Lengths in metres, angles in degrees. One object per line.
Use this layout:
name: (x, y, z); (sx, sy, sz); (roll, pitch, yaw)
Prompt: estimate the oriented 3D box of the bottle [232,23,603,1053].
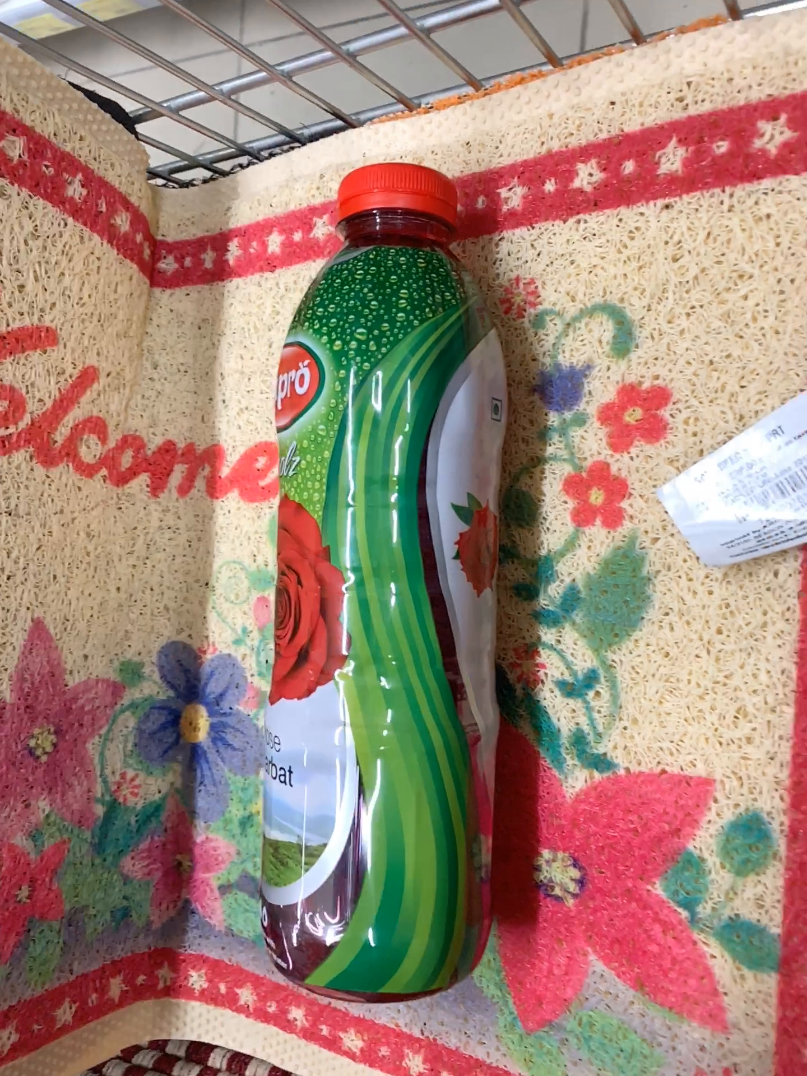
bottle: (0.000, 0.001, 0.256); (0.080, 0.080, 0.250); (4, 93, 60)
